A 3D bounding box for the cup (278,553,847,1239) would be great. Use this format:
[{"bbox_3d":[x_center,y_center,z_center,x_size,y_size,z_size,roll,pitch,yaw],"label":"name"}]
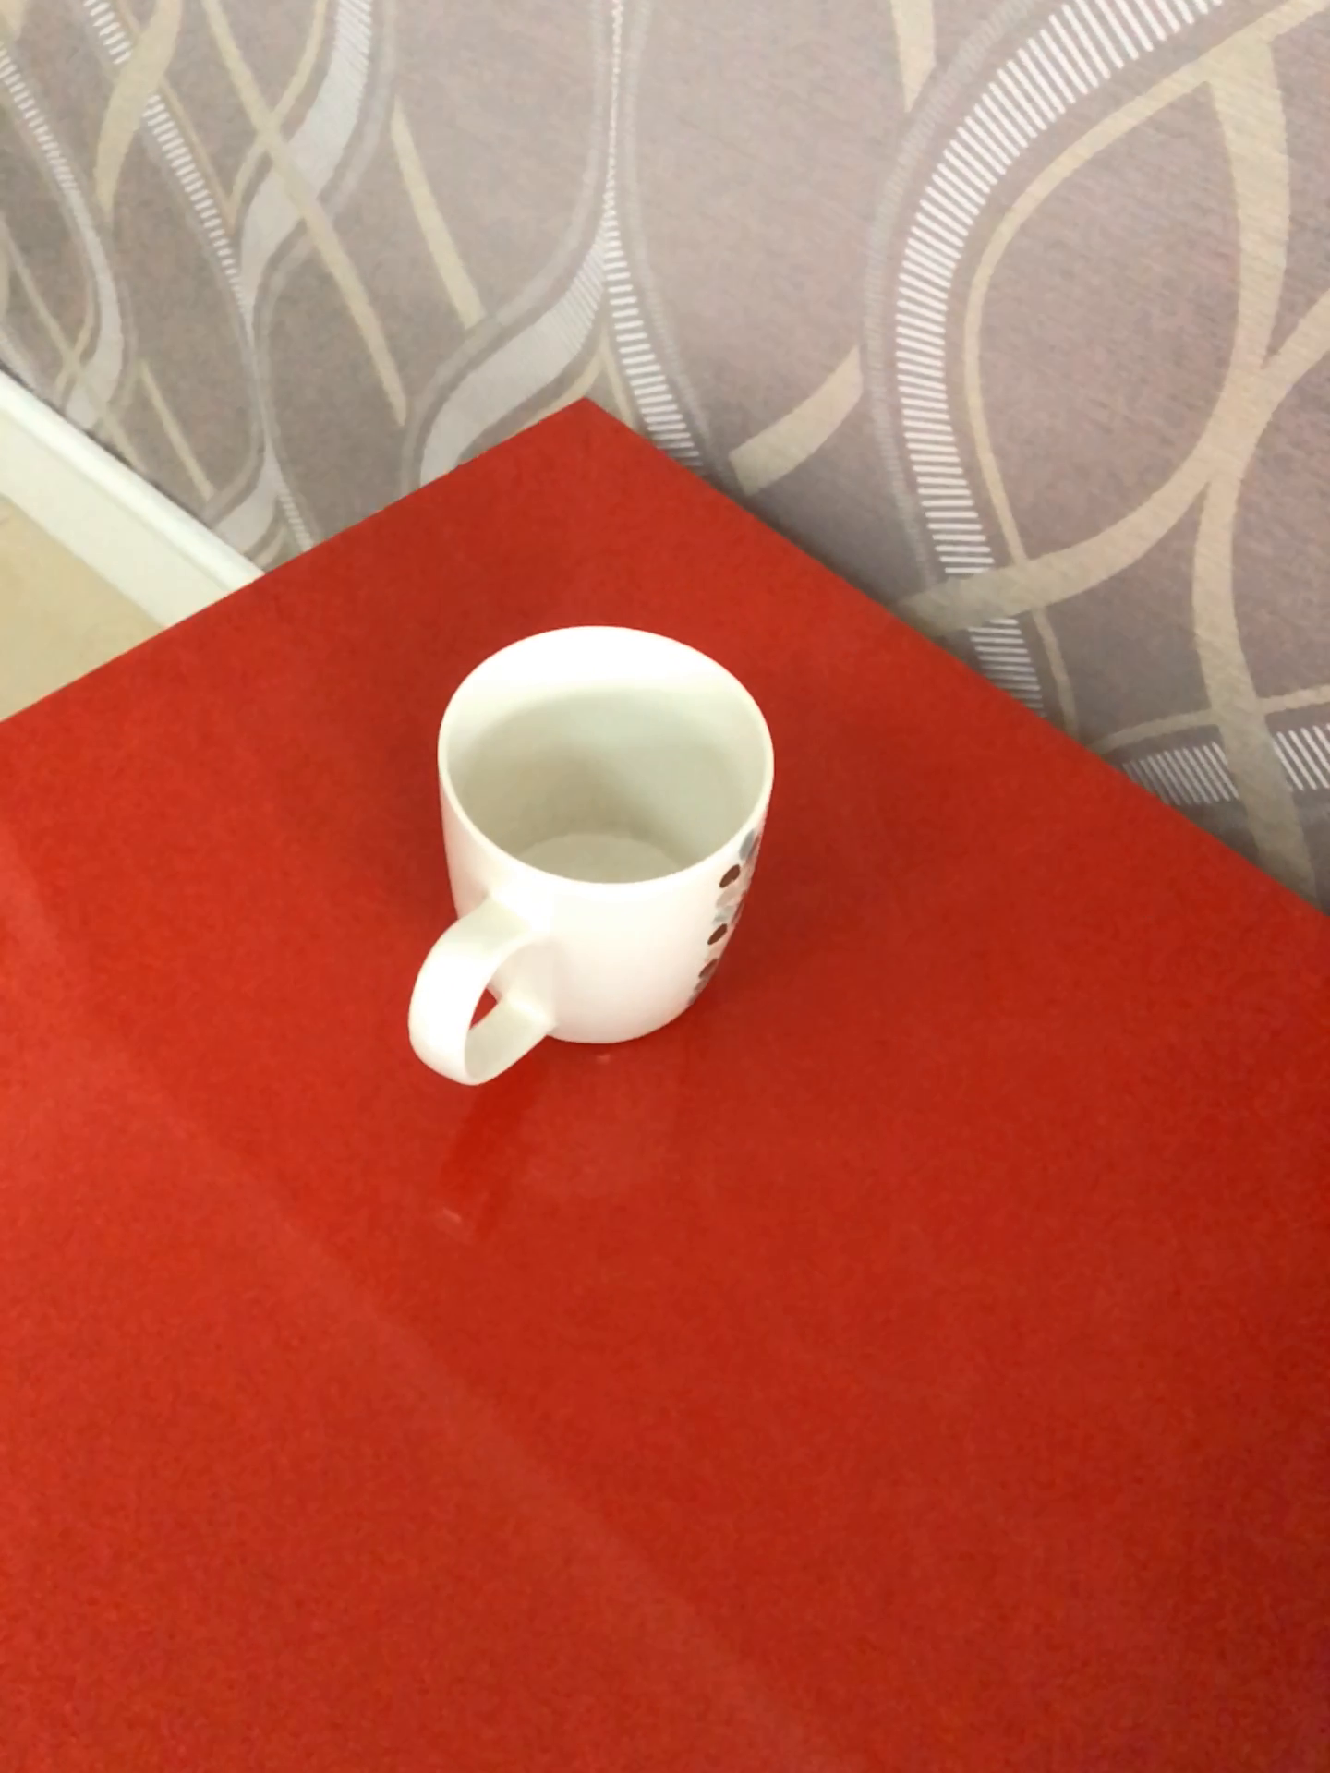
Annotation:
[{"bbox_3d":[-0.026,0.004,0.410,0.090,0.119,0.121,27,56,14],"label":"cup"}]
